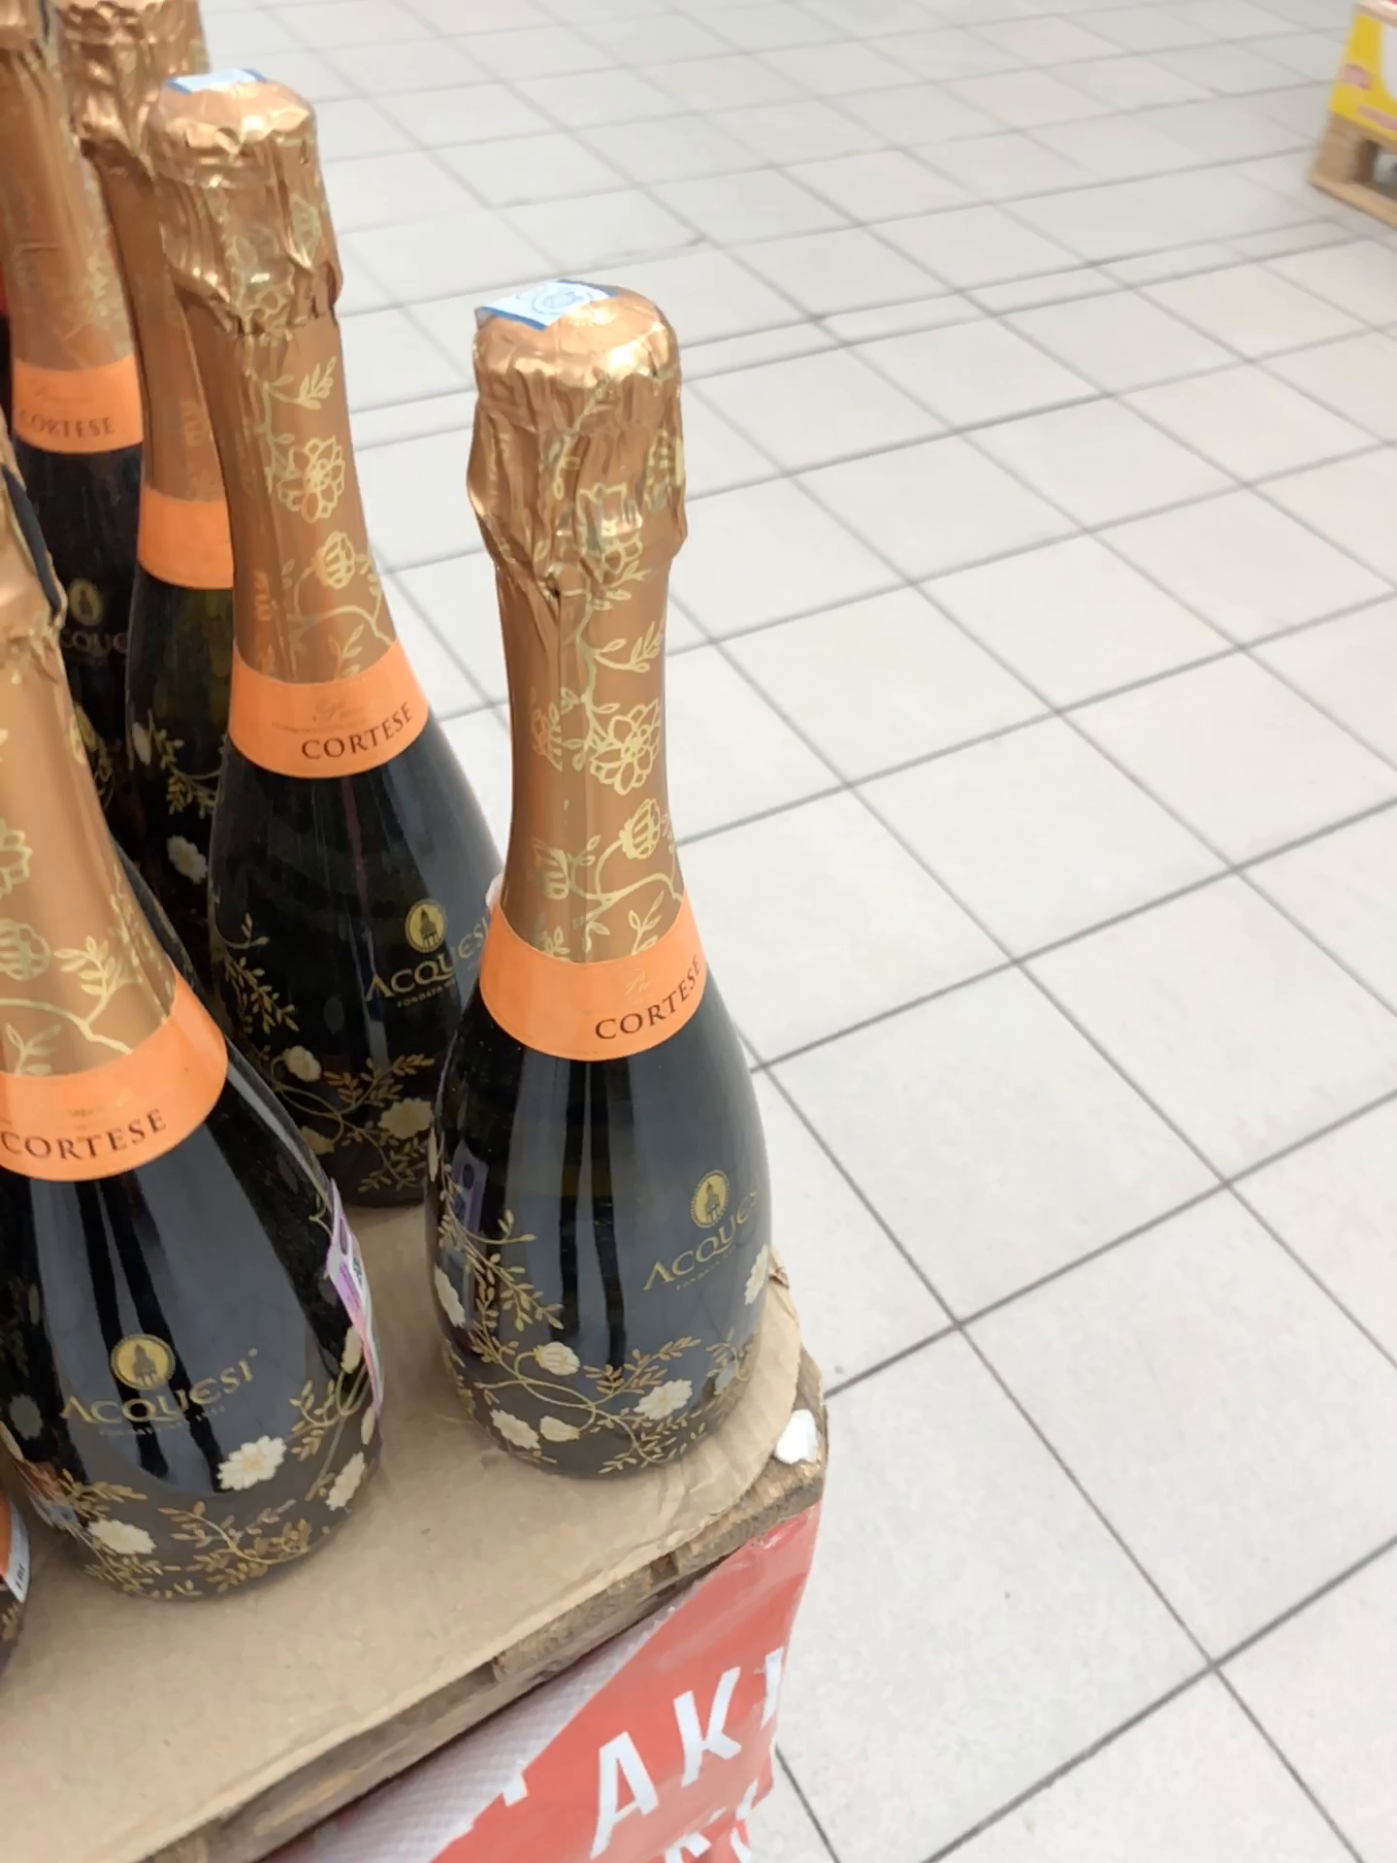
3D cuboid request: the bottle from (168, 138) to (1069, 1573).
[{"bbox_3d":[-0.022,0.012,0.356,0.100,0.318,0.100,3,45,-3],"label":"bottle"}]
